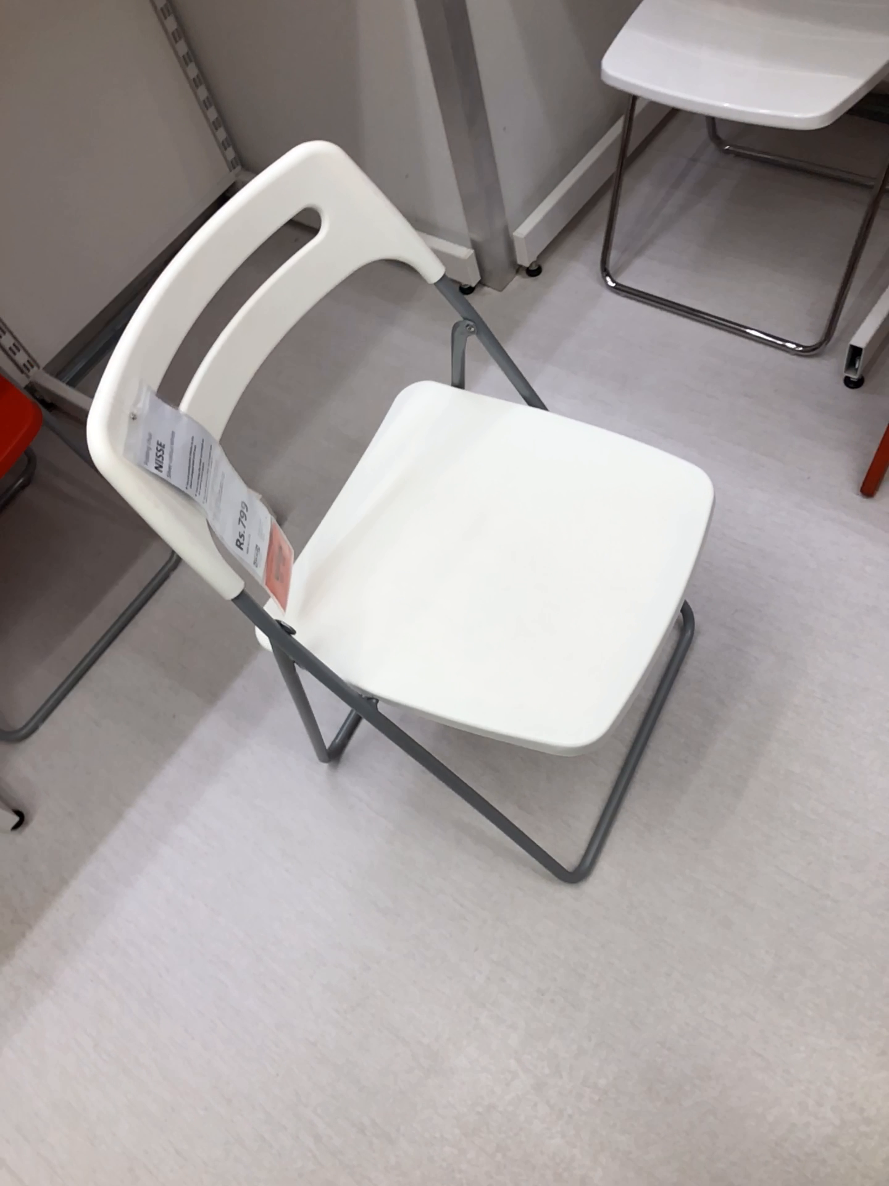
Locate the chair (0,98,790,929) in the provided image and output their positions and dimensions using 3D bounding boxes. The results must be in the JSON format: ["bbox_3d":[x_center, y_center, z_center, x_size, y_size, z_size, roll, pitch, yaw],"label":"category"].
[{"bbox_3d":[-0.003,-0.051,1.074,0.541,0.667,0.501,19,67,23],"label":"chair"}]
